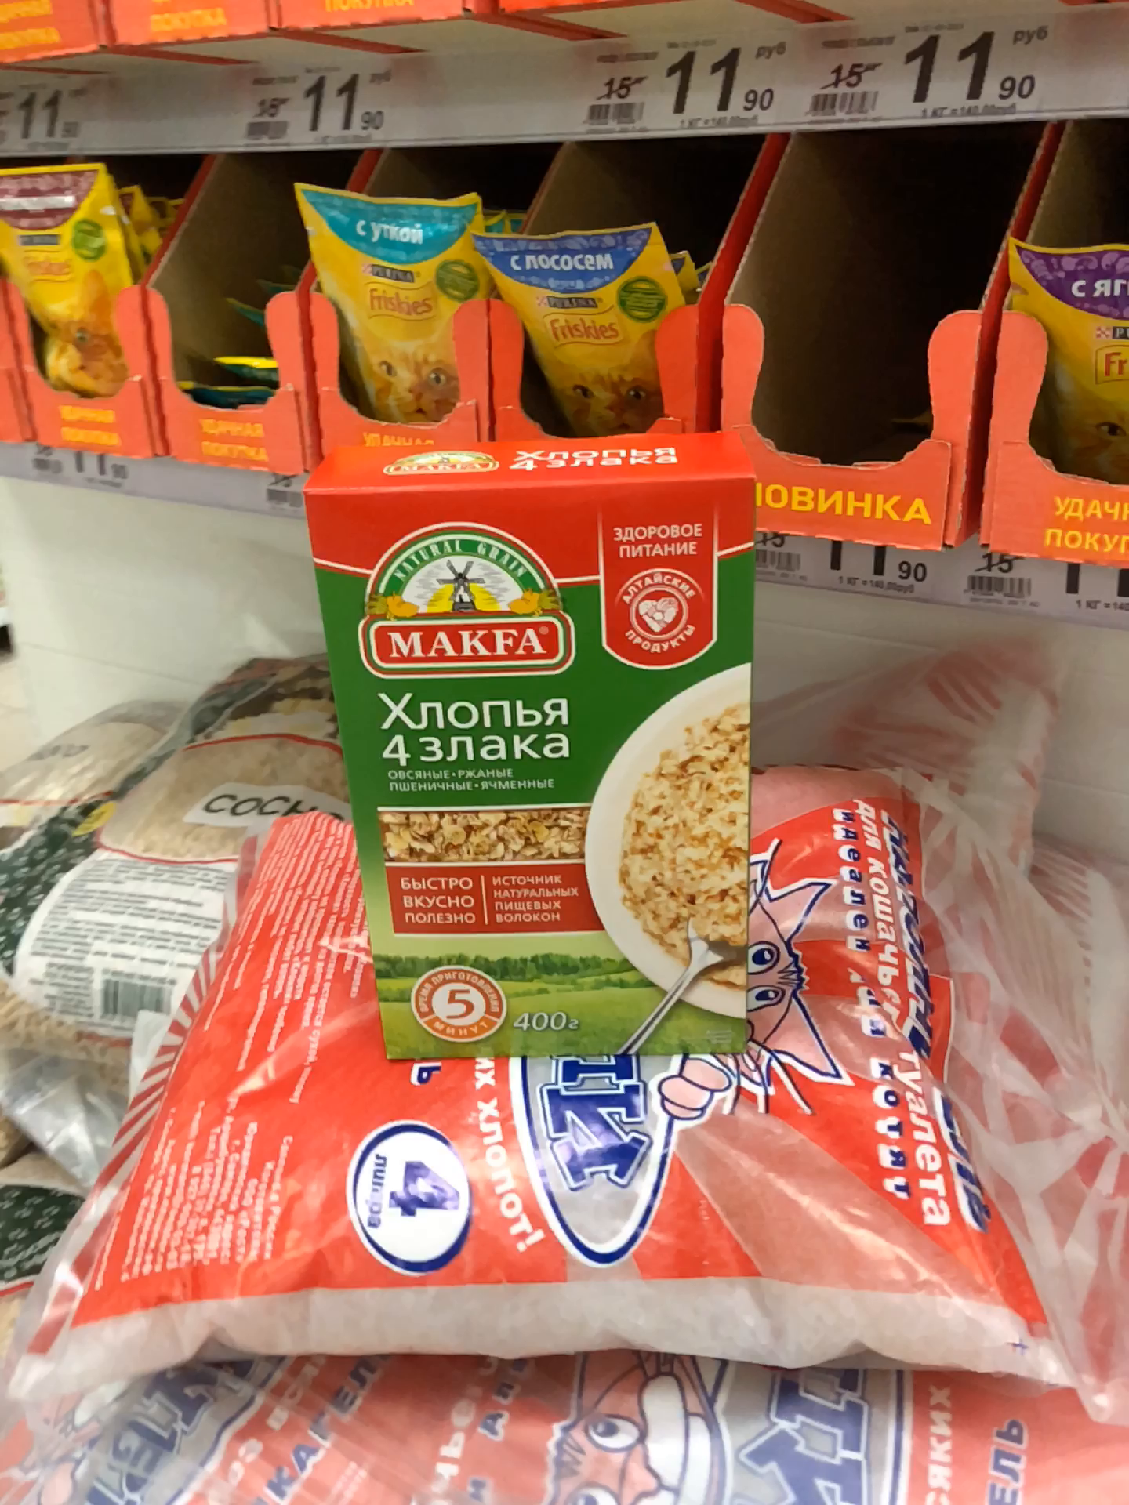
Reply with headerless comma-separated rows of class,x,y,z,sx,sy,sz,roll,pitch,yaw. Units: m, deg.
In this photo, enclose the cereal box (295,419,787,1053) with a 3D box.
cereal box,-0.001,0.001,0.420,0.140,0.209,0.050,-2,26,3
